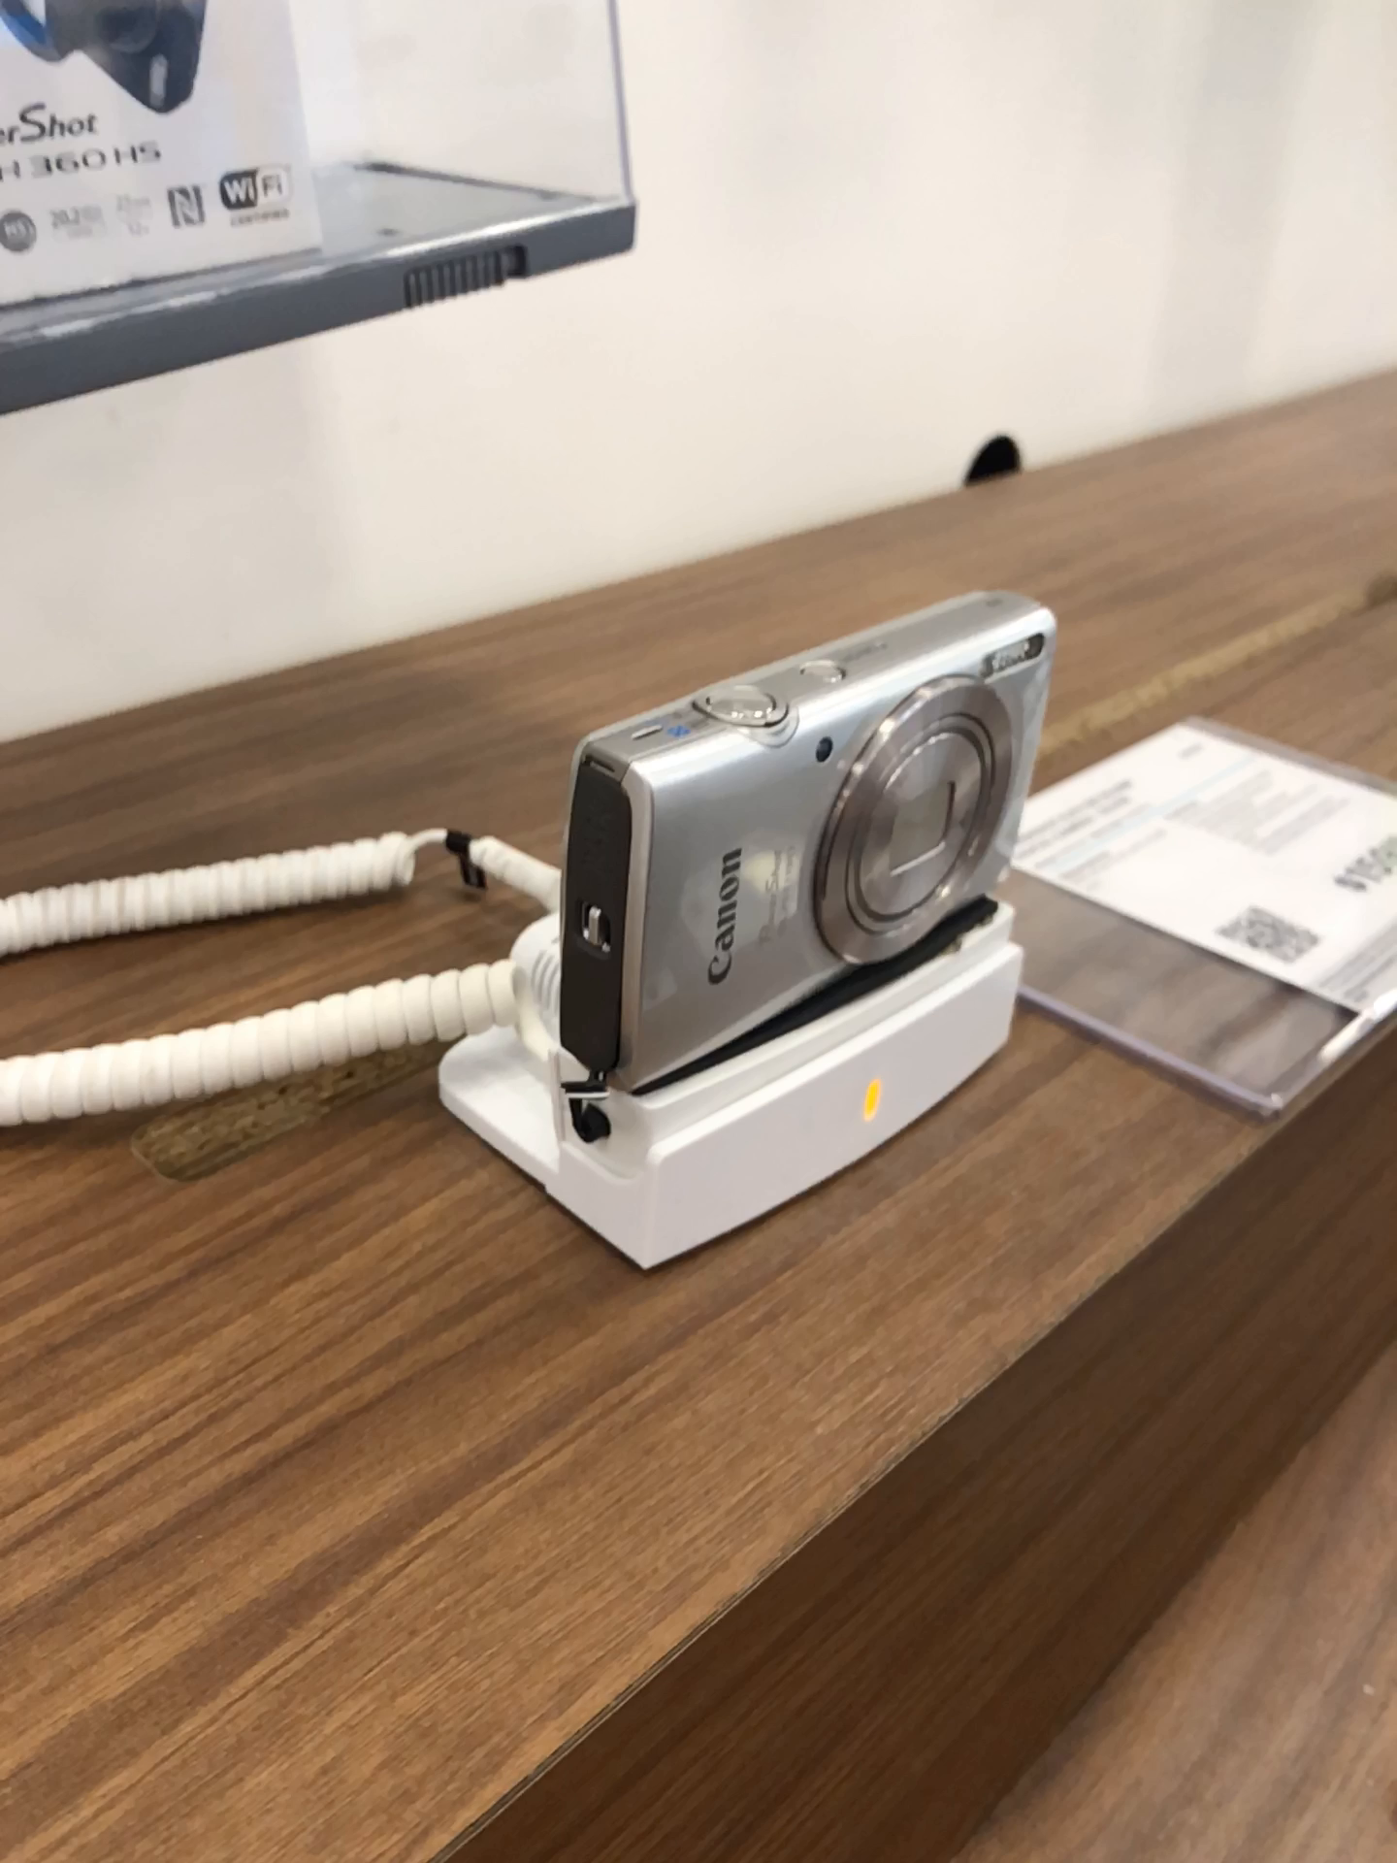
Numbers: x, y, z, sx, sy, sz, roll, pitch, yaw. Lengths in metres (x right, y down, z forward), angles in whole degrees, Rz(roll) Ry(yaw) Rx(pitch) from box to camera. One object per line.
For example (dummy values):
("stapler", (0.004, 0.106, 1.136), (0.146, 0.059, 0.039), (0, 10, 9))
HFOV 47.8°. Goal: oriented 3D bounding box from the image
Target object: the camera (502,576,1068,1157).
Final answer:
("camera", (0.015, -0.014, 0.247), (0.020, 0.060, 0.100), (32, 41, 33))
